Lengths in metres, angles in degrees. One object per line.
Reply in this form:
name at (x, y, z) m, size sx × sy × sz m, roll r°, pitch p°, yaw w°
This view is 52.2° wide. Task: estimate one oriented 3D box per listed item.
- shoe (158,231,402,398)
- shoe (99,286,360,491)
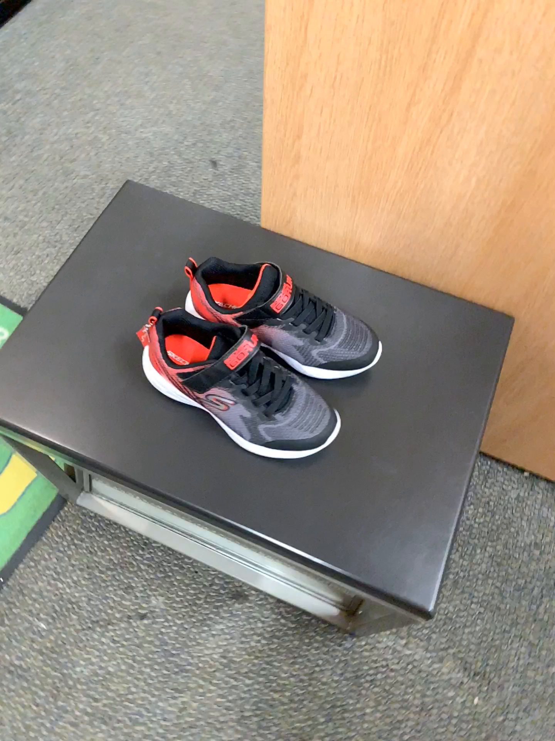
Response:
shoe at (0.002, -0.062, 0.628) m, size 0.240 × 0.080 × 0.090 m, roll 18°, pitch 63°, yaw 6°
shoe at (-0.049, 0.018, 0.594) m, size 0.240 × 0.080 × 0.098 m, roll 25°, pitch 64°, yaw 10°
